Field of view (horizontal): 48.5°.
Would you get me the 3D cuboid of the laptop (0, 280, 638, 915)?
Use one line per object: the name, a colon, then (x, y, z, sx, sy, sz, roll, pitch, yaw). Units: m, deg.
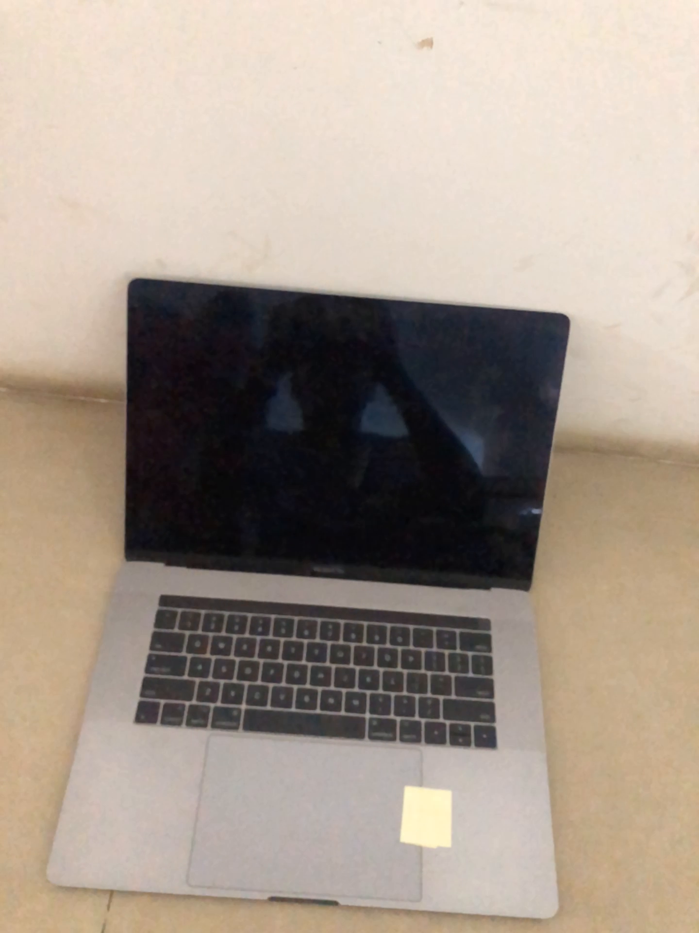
laptop: (-0.018, 0.080, 0.547, 0.329, 0.163, 0.381, 4, 57, -1)
